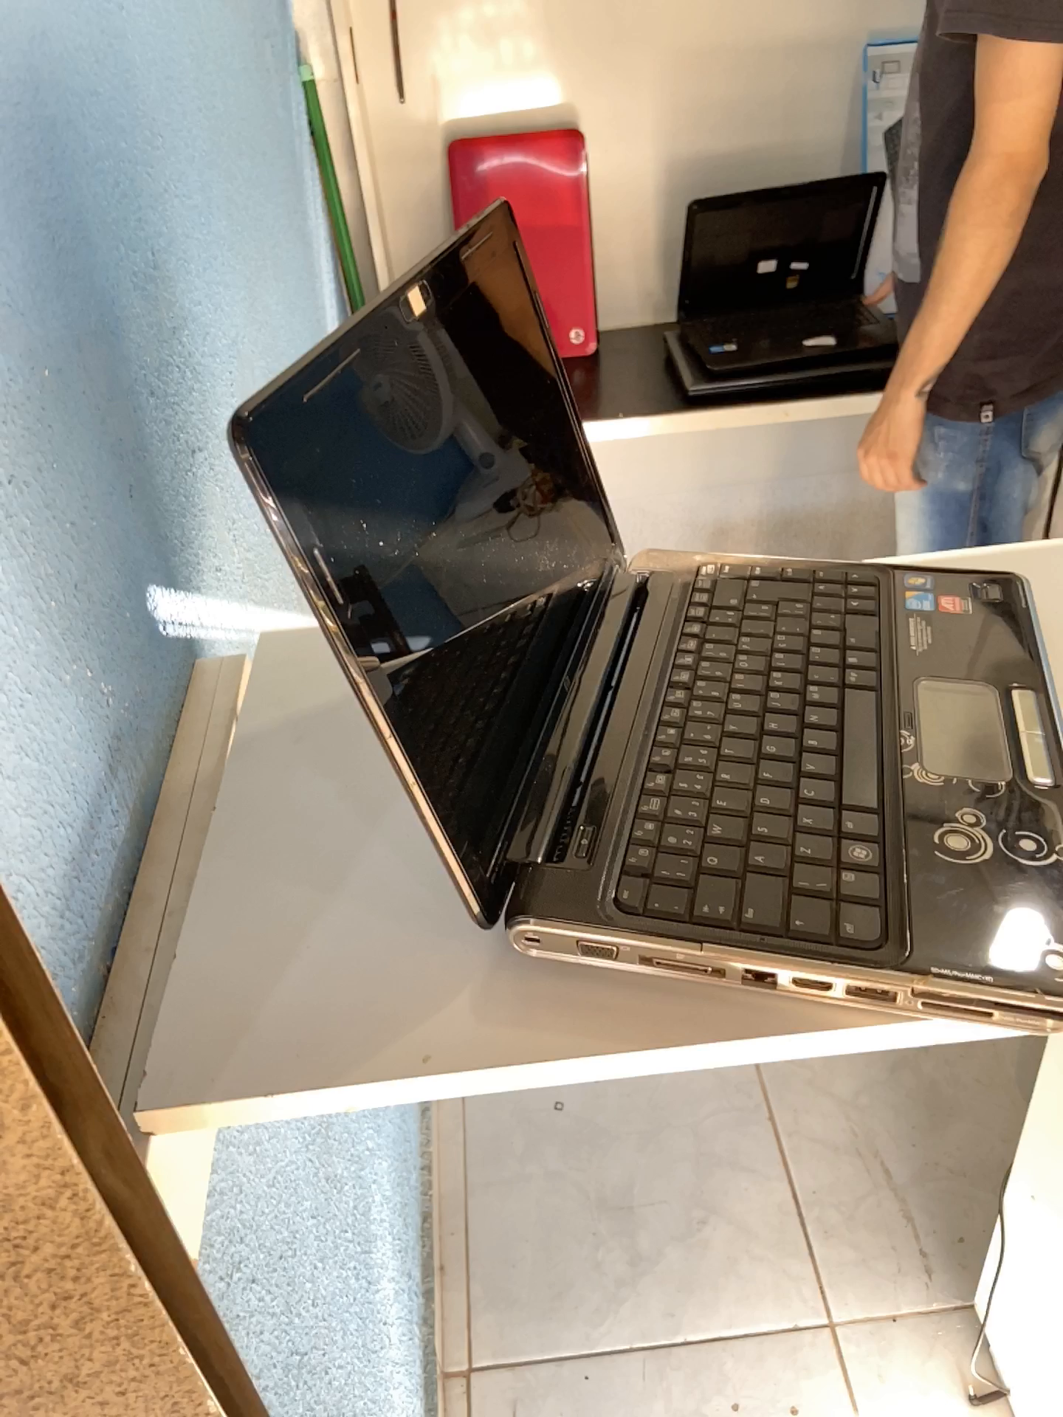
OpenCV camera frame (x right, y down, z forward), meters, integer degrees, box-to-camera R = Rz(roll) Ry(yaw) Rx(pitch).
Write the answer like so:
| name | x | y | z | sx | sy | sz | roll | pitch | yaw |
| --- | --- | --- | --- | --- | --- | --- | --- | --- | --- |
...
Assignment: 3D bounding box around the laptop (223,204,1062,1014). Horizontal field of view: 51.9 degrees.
| name | x | y | z | sx | sy | sz | roll | pitch | yaw |
| --- | --- | --- | --- | --- | --- | --- | --- | --- | --- |
| laptop | 0.097 | -0.081 | 0.499 | 0.301 | 0.211 | 0.323 | 5 | 36 | 14 |
